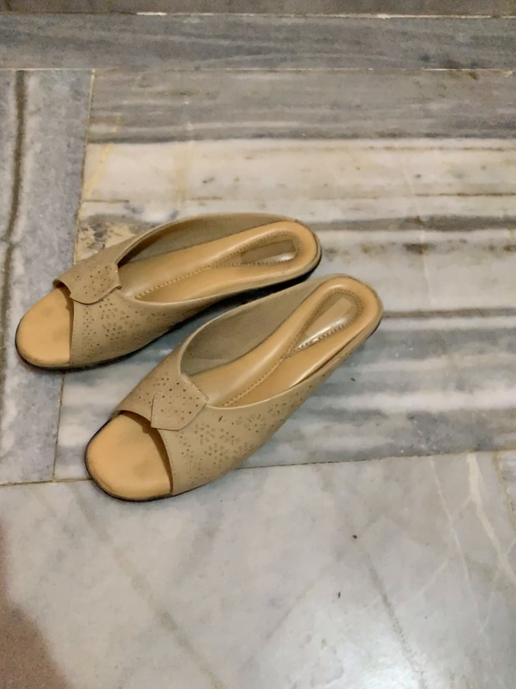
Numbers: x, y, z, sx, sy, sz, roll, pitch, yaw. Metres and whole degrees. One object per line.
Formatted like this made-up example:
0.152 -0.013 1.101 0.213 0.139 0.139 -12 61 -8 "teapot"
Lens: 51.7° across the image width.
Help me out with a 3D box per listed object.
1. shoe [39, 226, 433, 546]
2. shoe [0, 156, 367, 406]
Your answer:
-0.008 0.023 0.393 0.260 0.070 0.095 -32 69 -19 "shoe"
-0.063 -0.055 0.422 0.273 0.070 0.095 -20 66 -14 "shoe"
